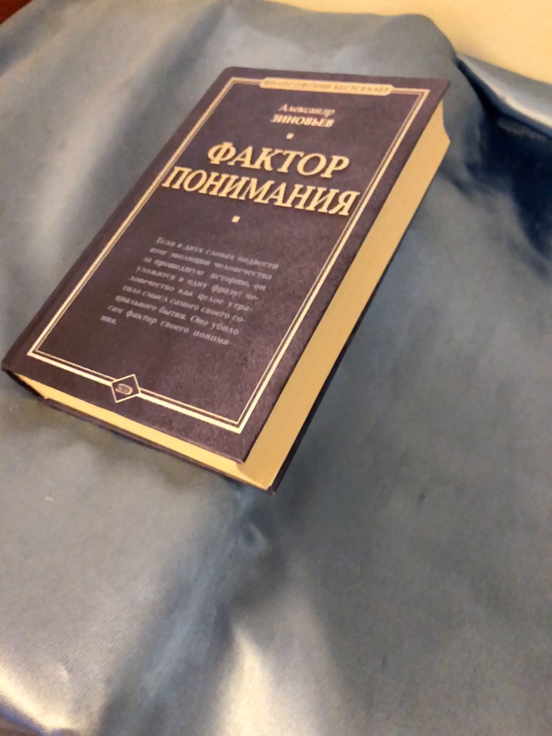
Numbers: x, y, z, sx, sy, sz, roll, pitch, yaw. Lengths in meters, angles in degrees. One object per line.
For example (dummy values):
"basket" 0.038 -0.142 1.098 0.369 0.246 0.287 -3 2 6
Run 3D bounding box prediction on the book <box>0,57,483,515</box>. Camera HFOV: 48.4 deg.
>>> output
"book" -0.009 -0.062 0.289 0.140 0.040 0.221 17 63 28
